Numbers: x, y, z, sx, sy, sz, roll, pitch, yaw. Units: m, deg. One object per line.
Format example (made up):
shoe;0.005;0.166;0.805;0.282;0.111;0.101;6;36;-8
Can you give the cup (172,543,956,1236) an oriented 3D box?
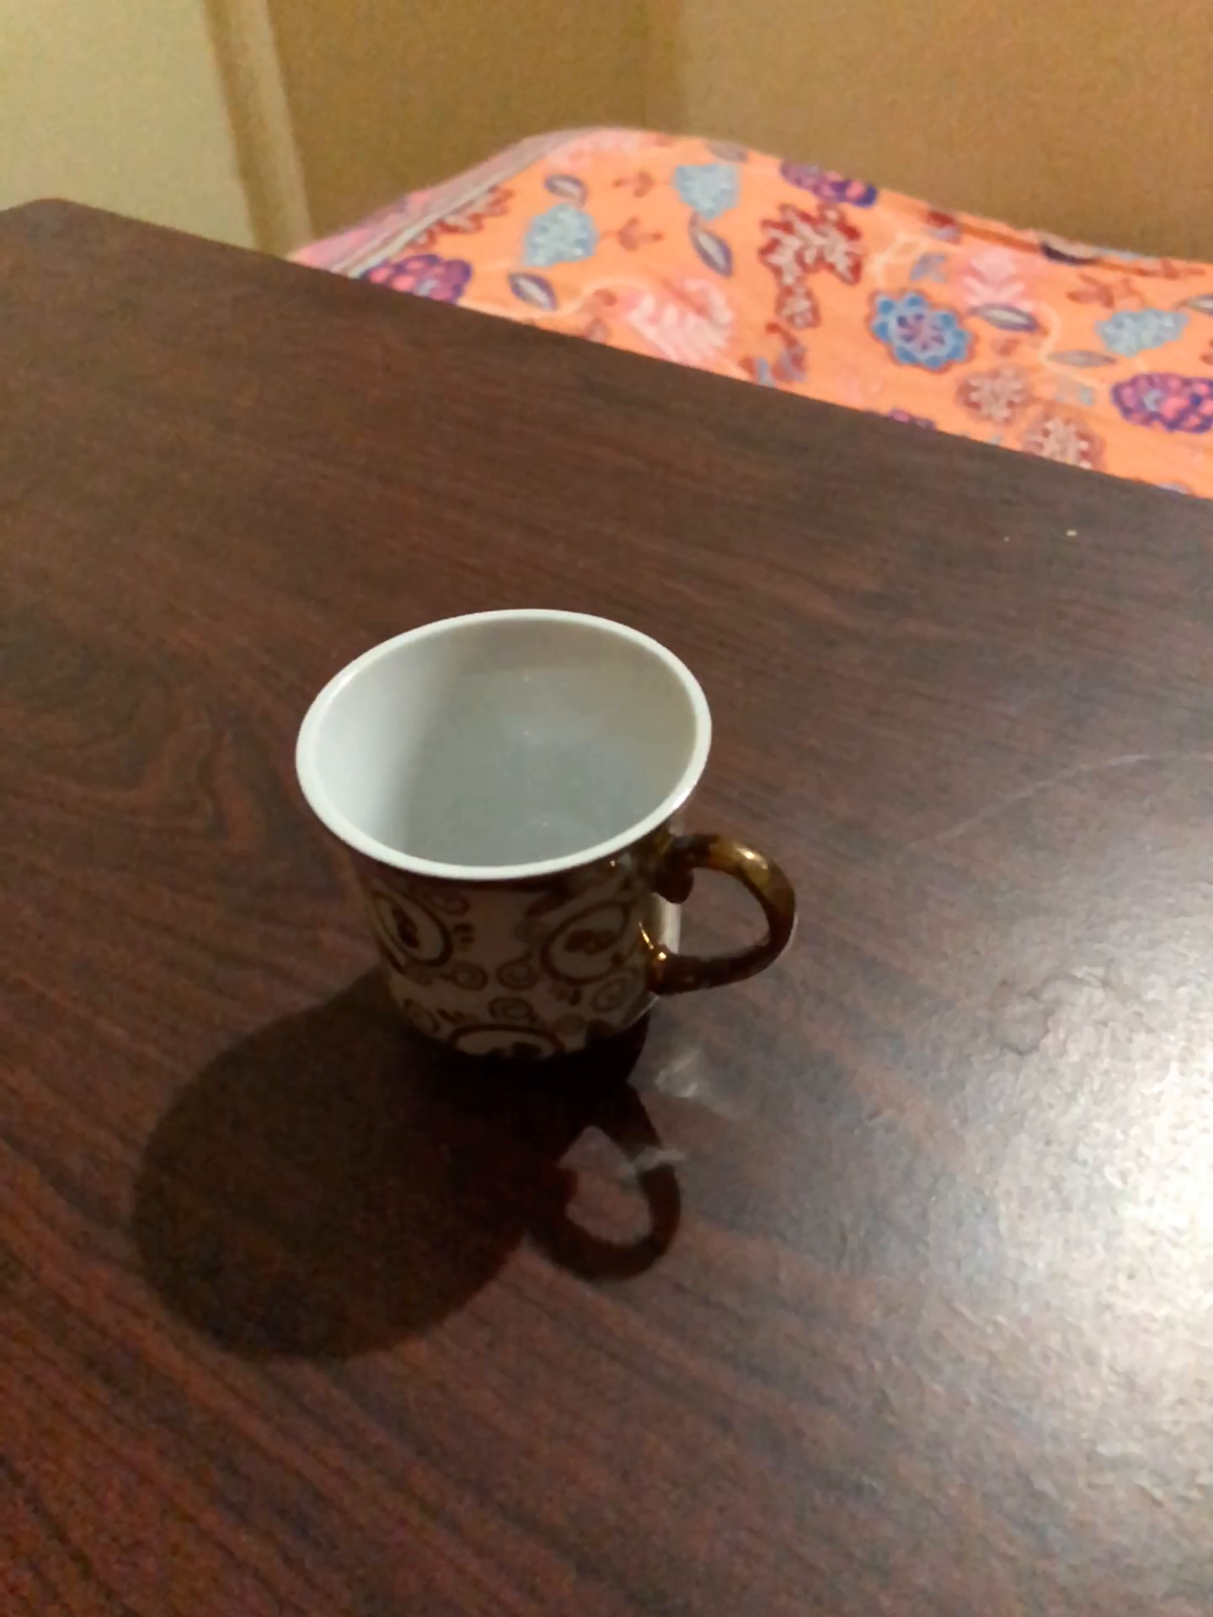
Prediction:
cup;-0.003;0.007;0.211;0.090;0.050;0.070;18;46;23
